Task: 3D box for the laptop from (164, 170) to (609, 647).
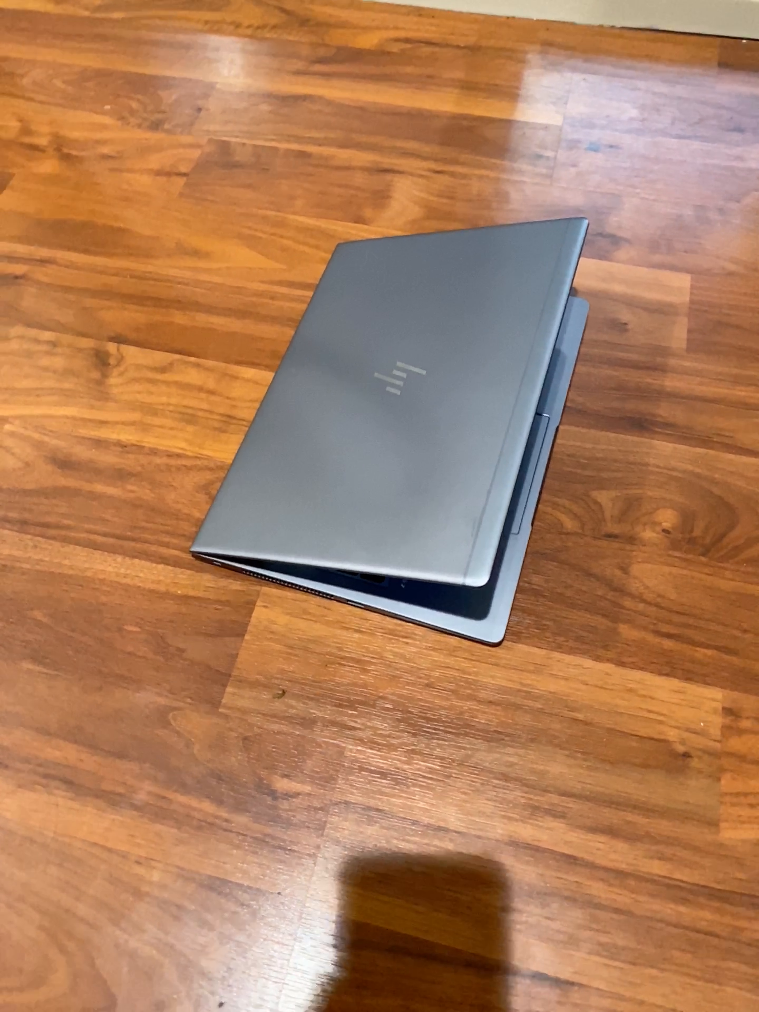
[{"bbox_3d":[0.021,-0.091,0.584,0.230,0.078,0.325,15,63,9],"label":"laptop"}]
